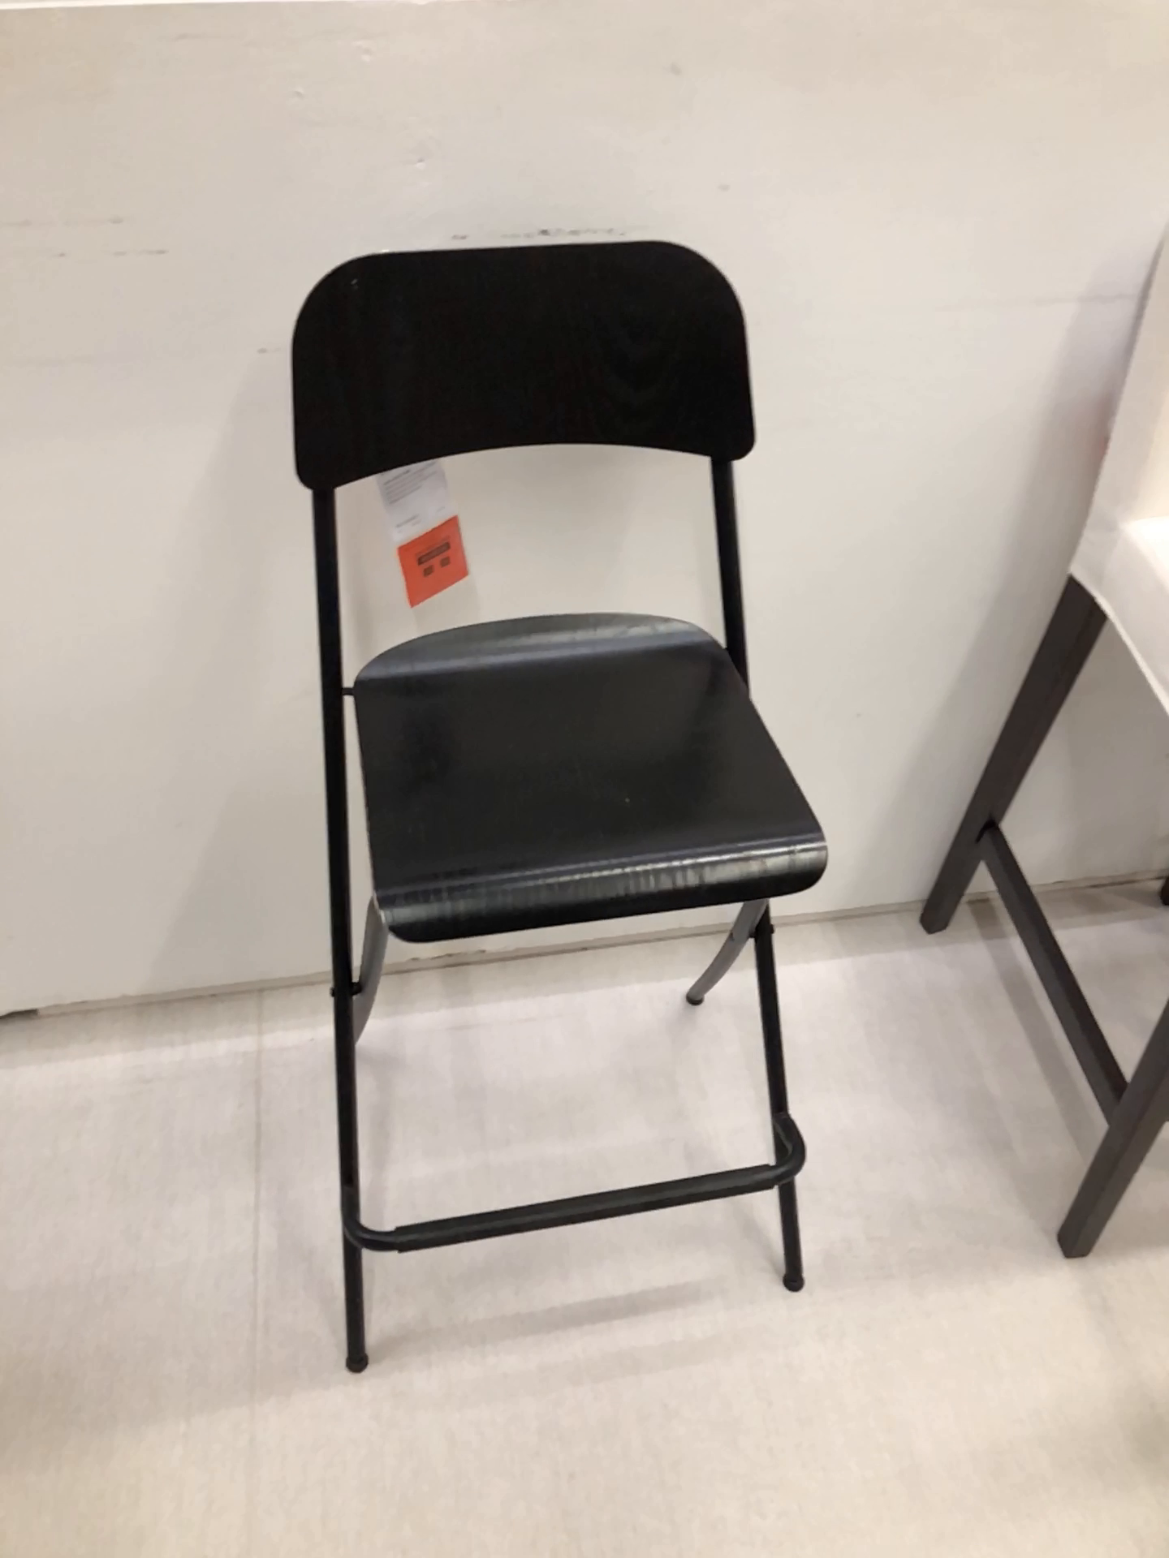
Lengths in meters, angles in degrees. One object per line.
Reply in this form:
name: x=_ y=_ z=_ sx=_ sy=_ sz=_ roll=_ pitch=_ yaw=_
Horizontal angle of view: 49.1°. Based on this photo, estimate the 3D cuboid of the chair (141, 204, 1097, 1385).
chair: x=-0.020 y=0.056 z=1.110 sx=0.490 sy=0.884 sz=0.473 roll=-7 pitch=43 yaw=-9
